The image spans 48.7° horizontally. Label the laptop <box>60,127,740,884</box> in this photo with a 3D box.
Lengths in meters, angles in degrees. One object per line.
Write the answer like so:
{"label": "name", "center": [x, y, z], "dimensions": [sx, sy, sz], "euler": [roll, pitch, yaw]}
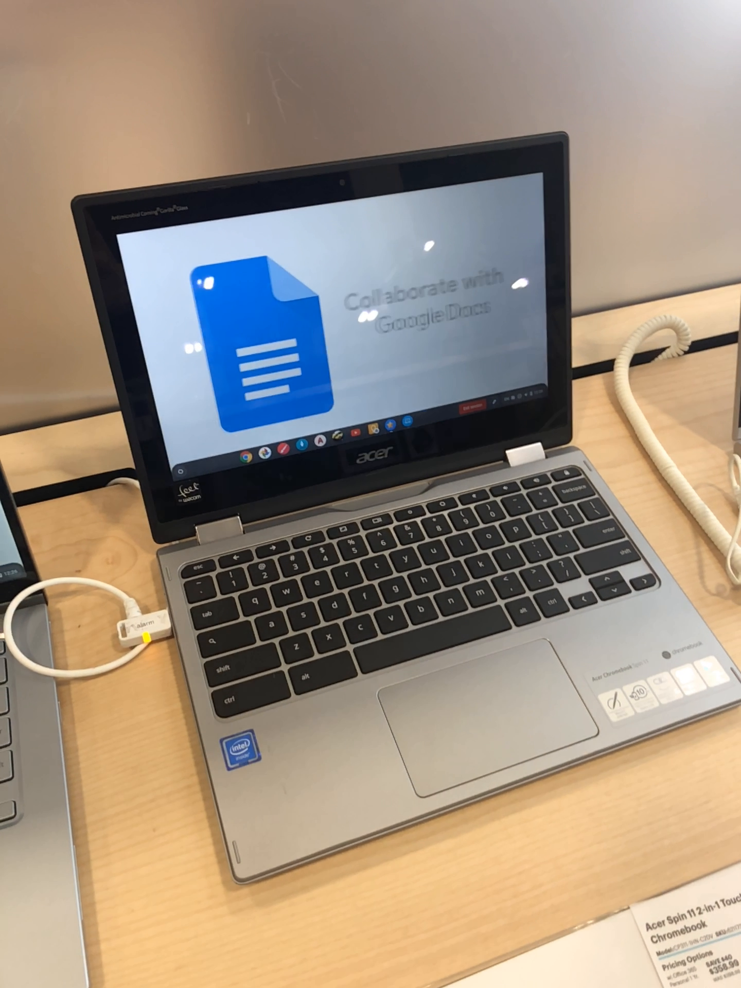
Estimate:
{"label": "laptop", "center": [0.025, -0.021, 0.432], "dimensions": [0.287, 0.176, 0.296], "euler": [-14, 52, -15]}
